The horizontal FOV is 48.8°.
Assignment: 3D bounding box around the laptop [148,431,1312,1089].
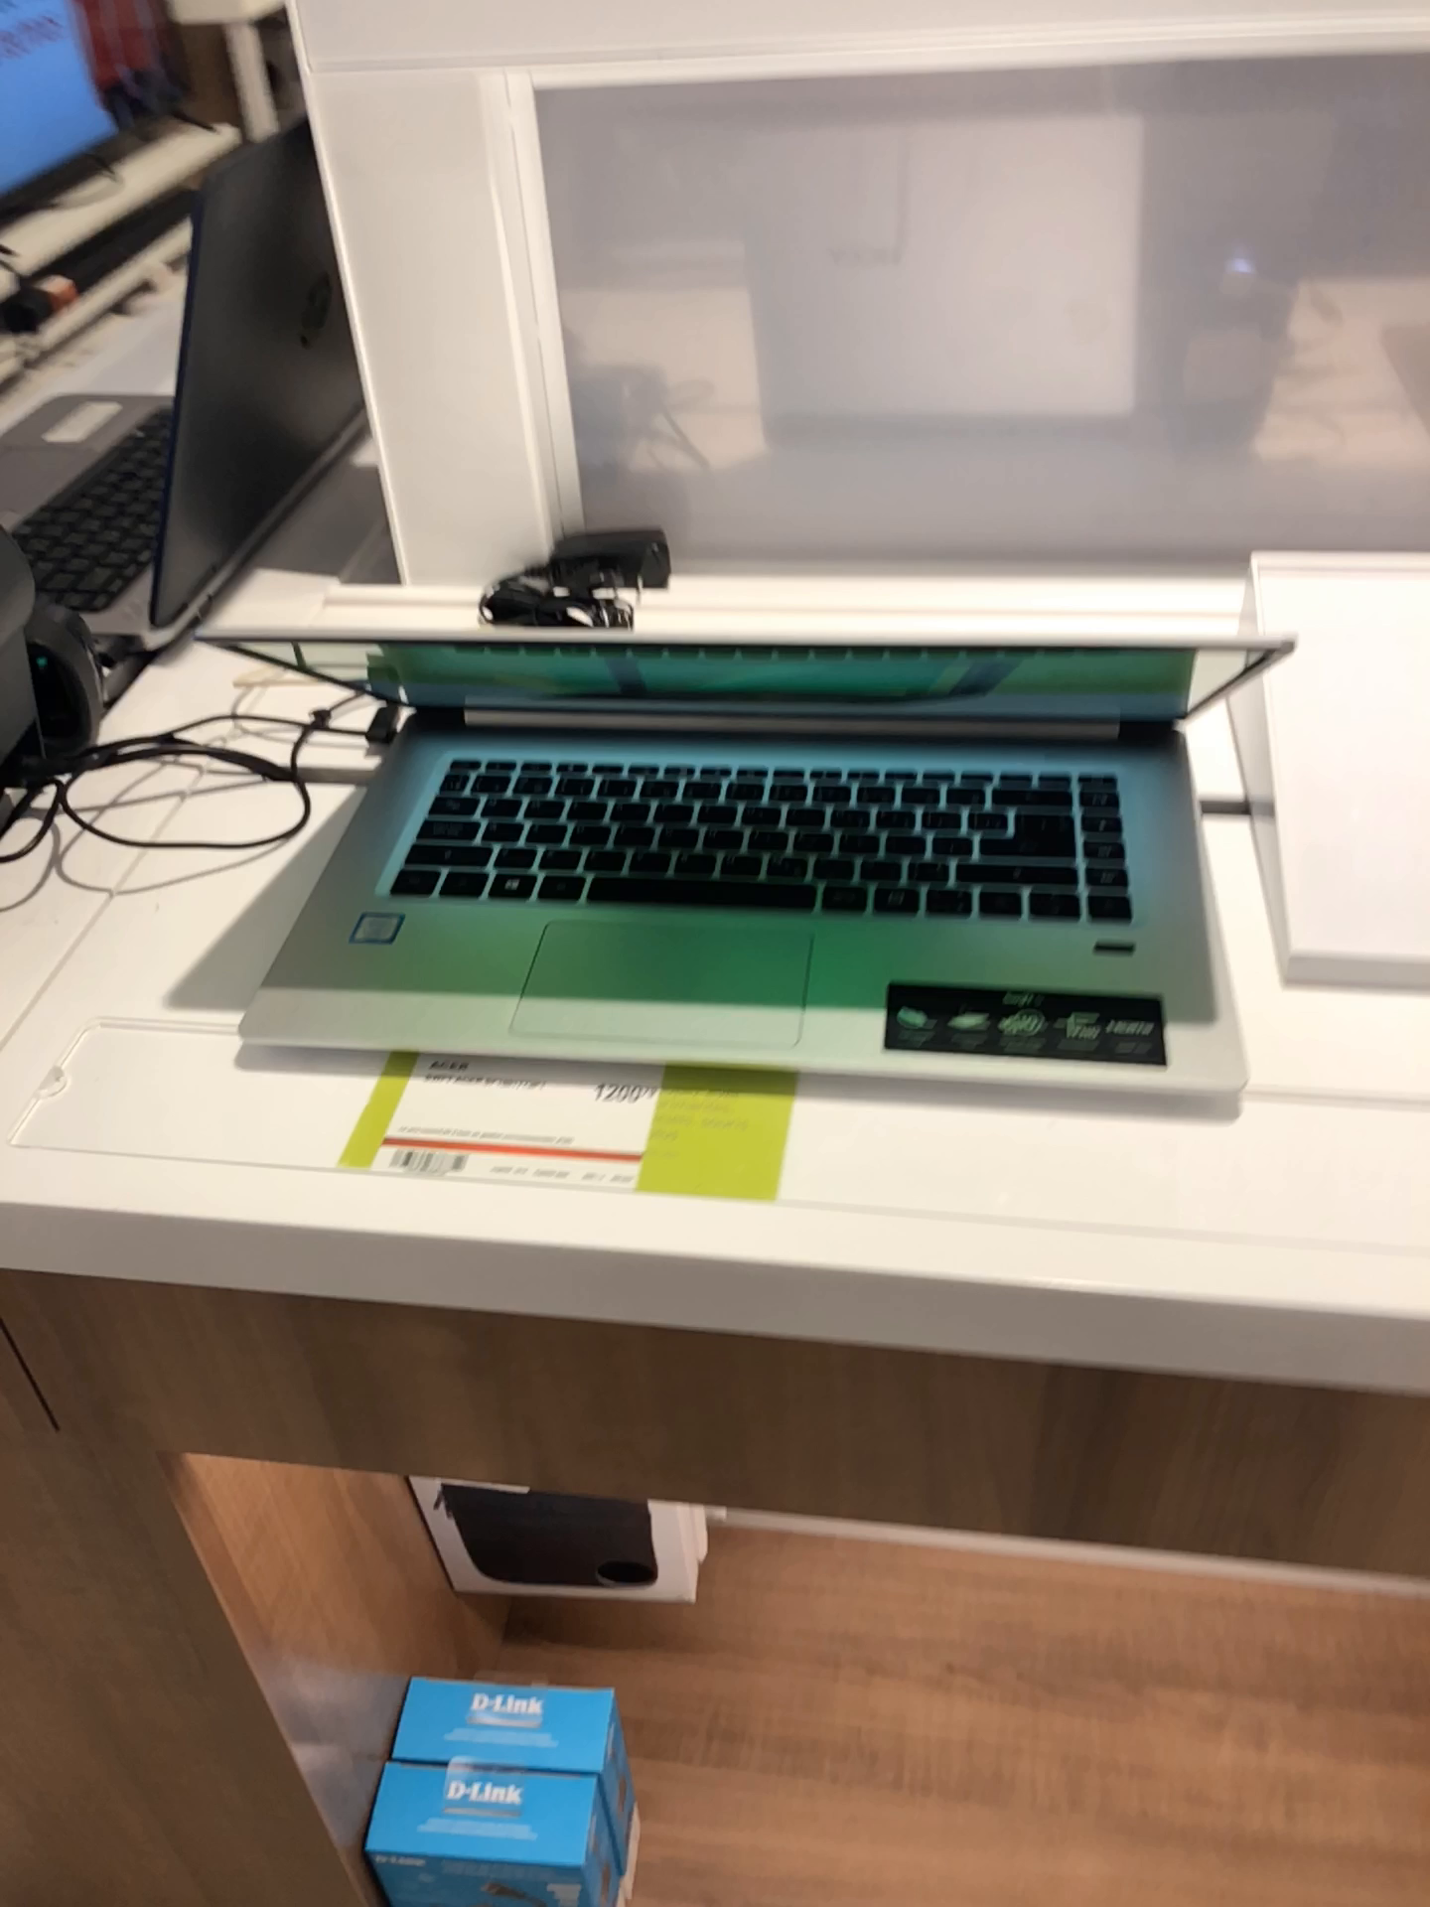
[{"bbox_3d":[0.014,-0.085,0.588,0.346,0.132,0.218,3,40,7],"label":"laptop"}]
